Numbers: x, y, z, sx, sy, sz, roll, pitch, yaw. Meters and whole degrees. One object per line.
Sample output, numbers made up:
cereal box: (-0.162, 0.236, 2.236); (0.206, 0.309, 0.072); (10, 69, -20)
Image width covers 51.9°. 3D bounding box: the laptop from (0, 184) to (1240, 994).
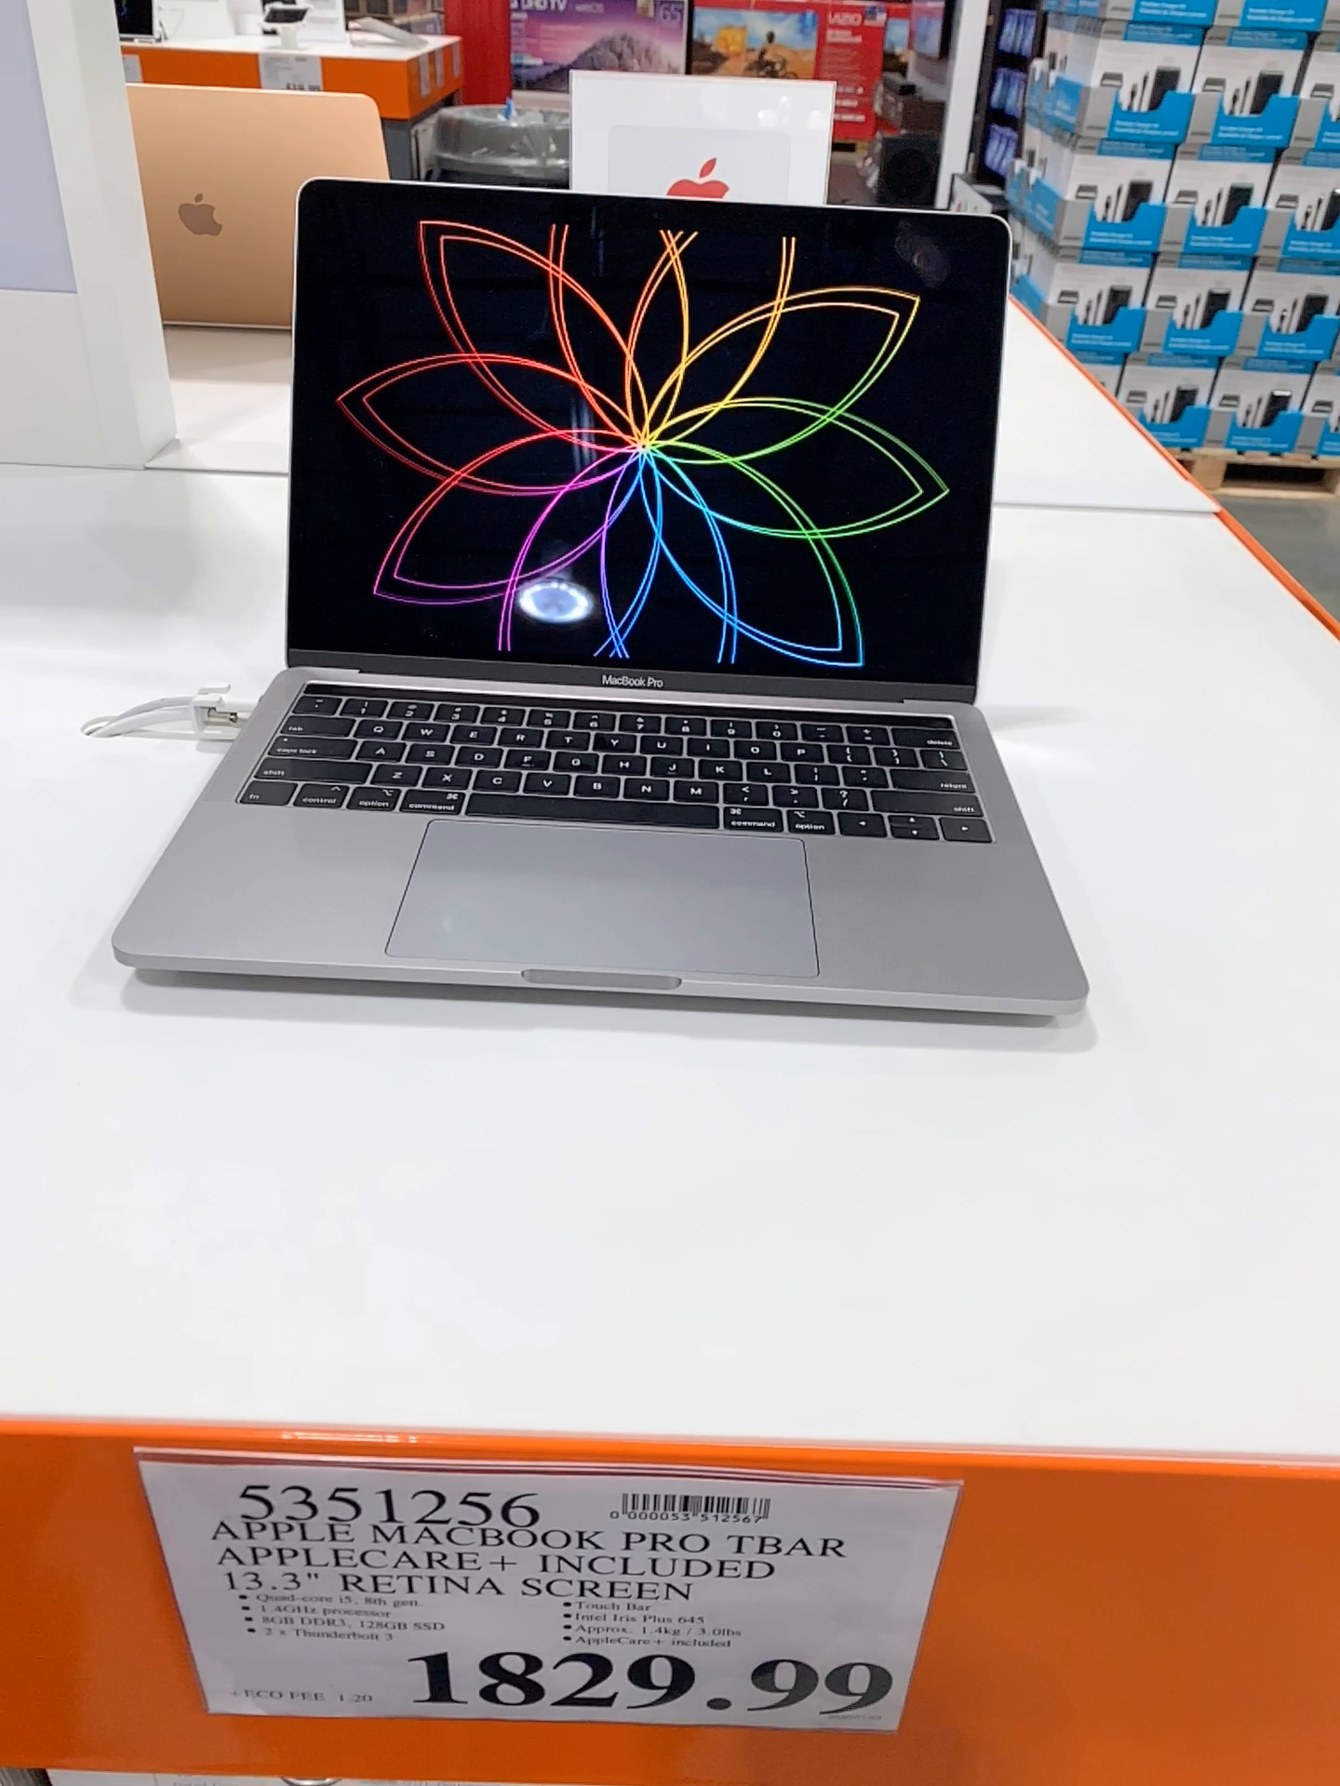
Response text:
laptop: (-0.013, -0.132, 0.486); (0.289, 0.165, 0.308); (3, 34, 0)
